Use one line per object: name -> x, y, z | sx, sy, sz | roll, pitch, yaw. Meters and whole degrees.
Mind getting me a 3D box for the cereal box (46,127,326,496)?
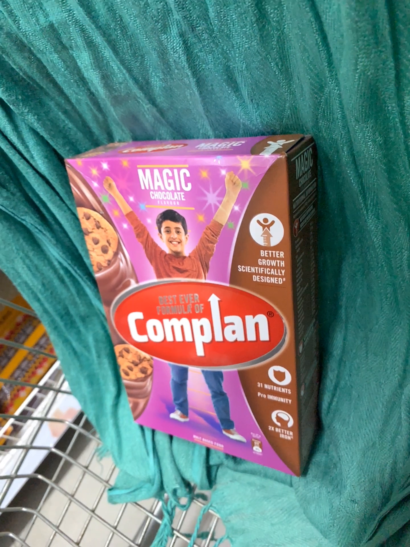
cereal box -> -0.006, 0.024, 0.291 | 0.161, 0.220, 0.050 | 7, 27, 30
